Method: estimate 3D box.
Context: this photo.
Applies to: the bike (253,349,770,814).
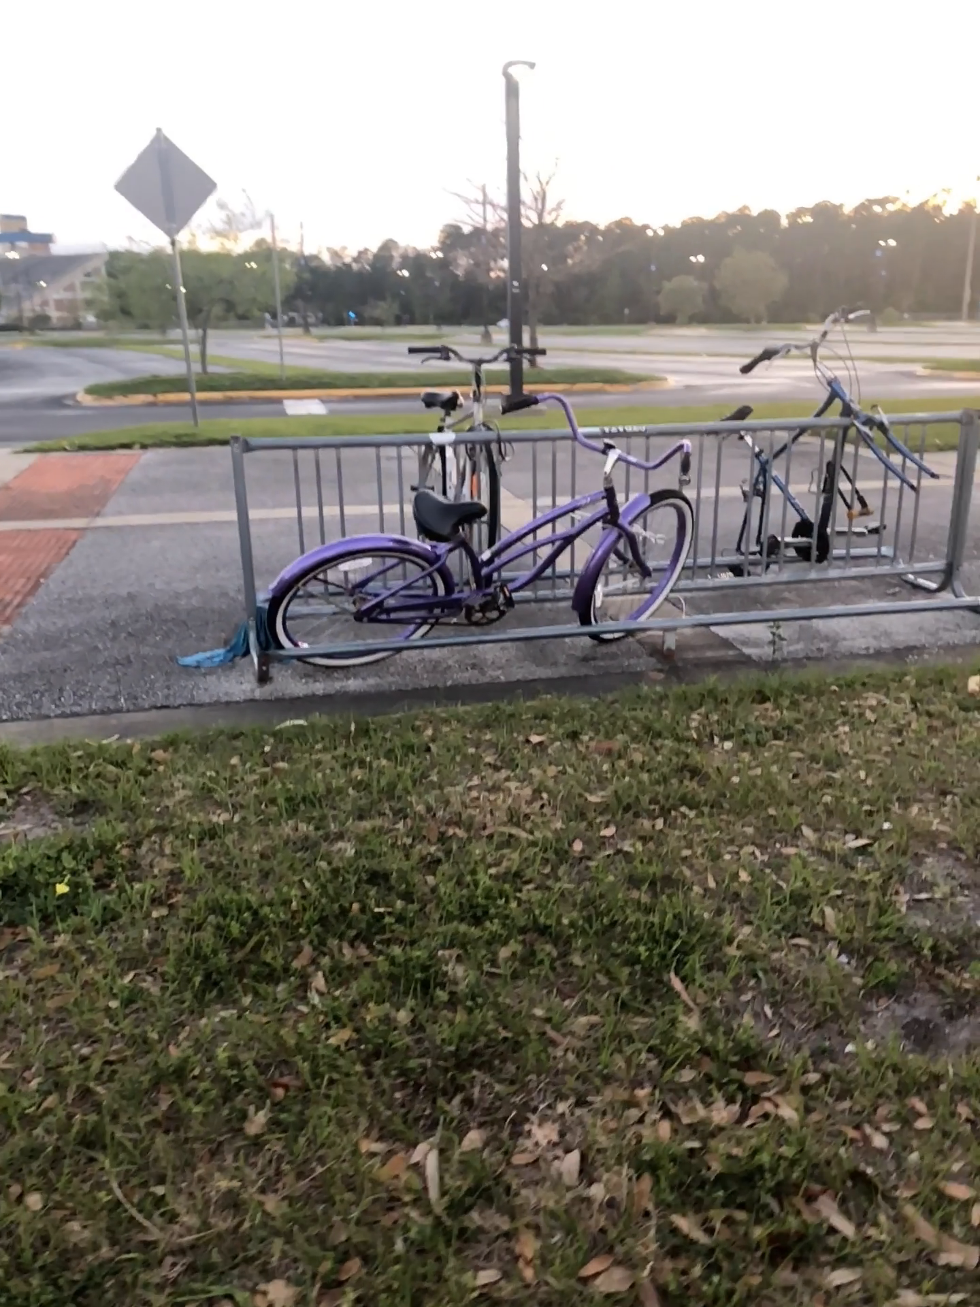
[{"bbox_3d":[0.058,-0.374,3.754,1.701,1.117,0.853,-12,19,-20],"label":"bike"}]
